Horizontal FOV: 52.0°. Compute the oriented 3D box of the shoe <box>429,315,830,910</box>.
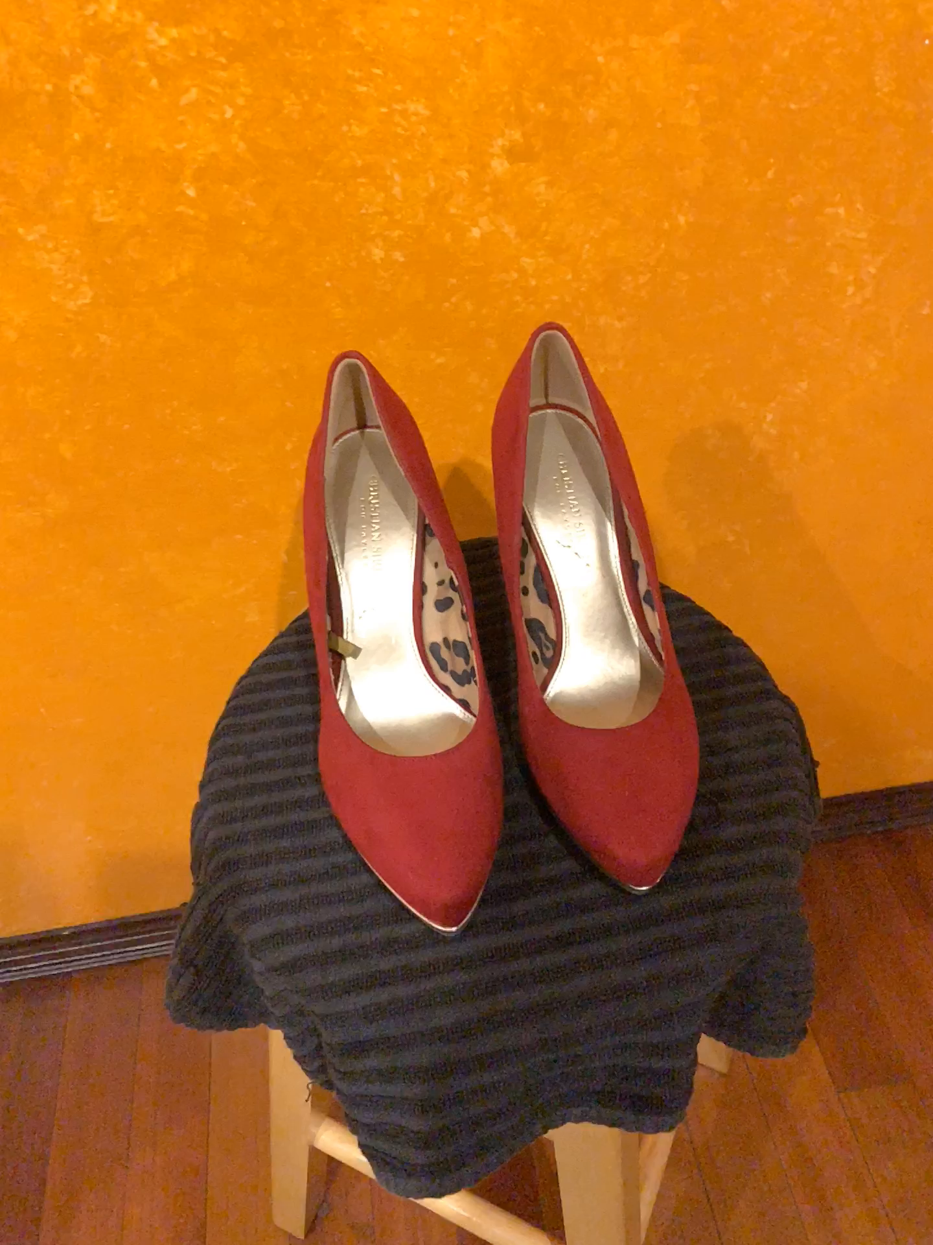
[{"bbox_3d":[0.048,-0.026,0.447,0.093,0.128,0.271,-6,40,-8],"label":"shoe"}]

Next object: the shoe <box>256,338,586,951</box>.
[{"bbox_3d":[-0.038,-0.015,0.453,0.100,0.119,0.291,-7,40,-9],"label":"shoe"}]
